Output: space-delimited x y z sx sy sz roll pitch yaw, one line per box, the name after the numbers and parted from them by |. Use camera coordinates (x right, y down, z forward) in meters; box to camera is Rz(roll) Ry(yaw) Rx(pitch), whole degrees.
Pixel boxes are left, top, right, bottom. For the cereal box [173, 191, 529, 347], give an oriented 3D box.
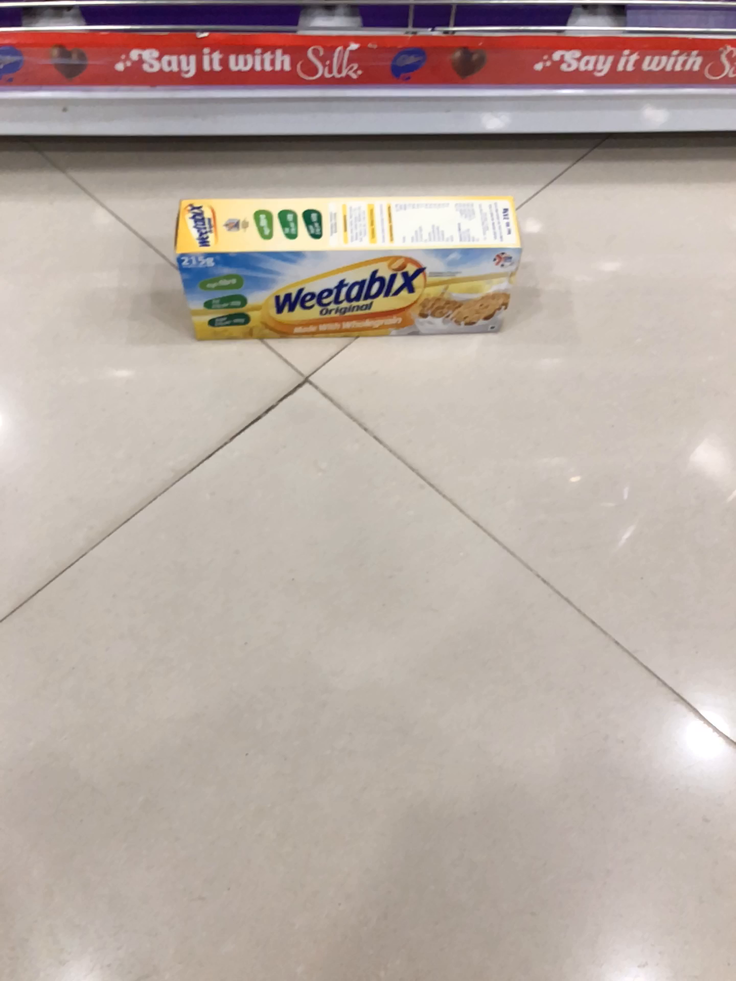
-0.014 -0.169 0.630 0.250 0.100 0.060 -2 62 -3 | cereal box
